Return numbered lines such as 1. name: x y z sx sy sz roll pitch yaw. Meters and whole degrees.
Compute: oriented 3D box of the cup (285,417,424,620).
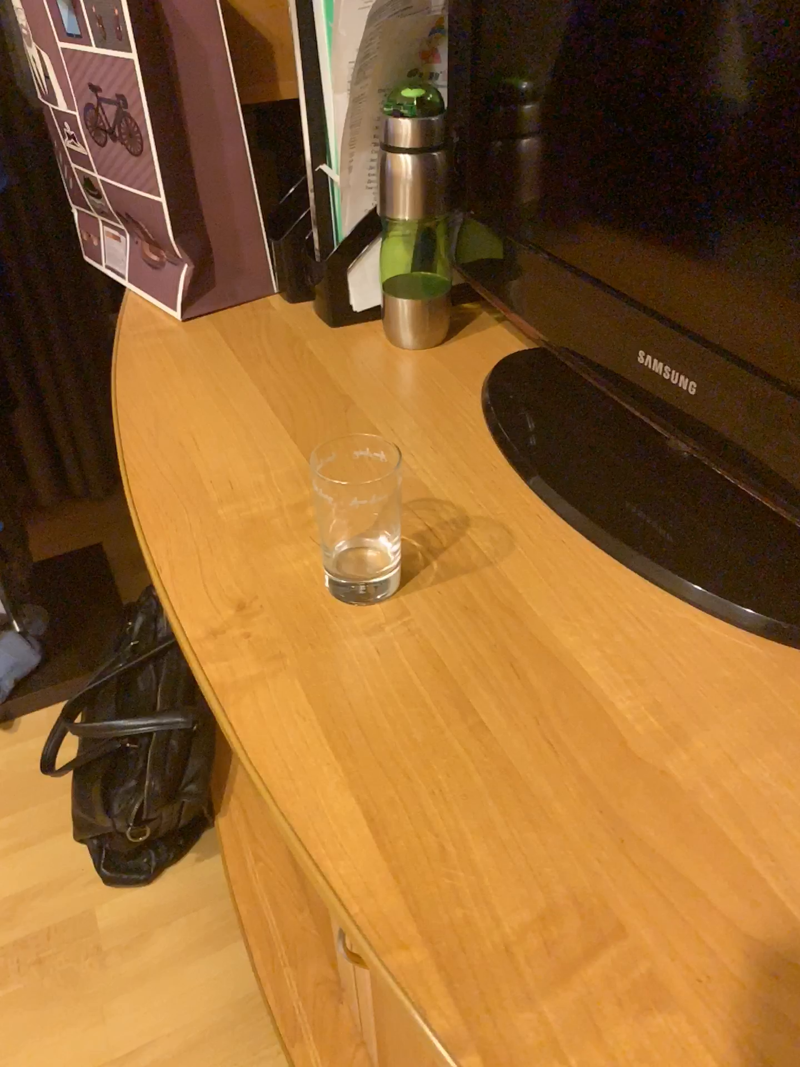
1. cup: -0.025 -0.010 0.519 0.060 0.099 0.060 -1 37 1
